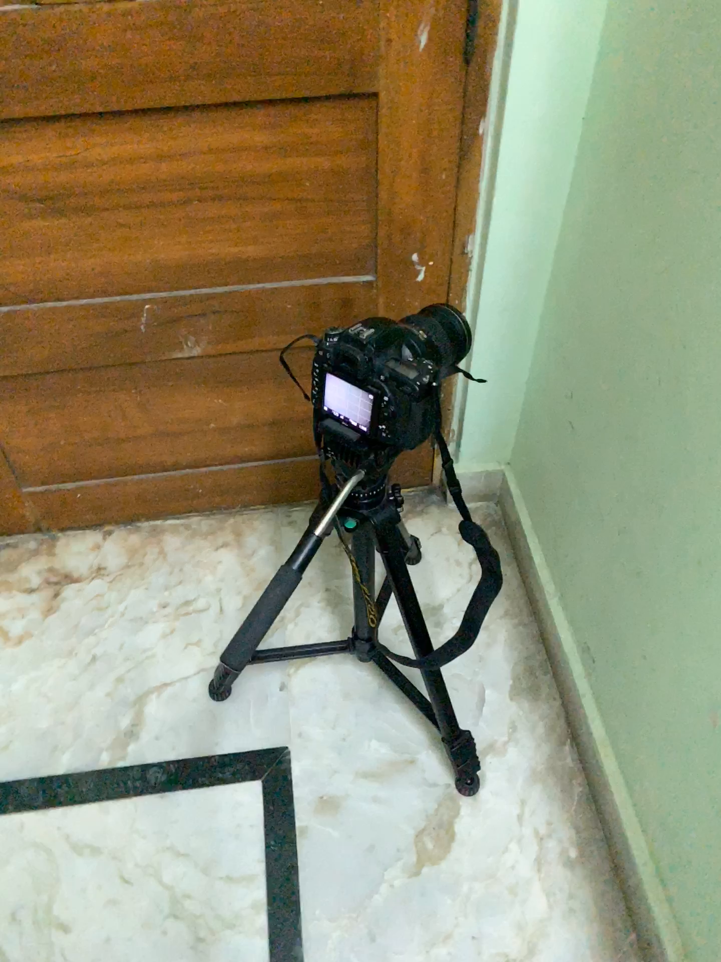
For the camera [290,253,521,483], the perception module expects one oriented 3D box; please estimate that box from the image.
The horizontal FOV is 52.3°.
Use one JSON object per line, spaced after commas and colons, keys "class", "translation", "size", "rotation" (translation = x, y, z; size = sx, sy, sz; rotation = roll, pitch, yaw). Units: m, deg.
{"class": "camera", "translation": [0.053, -0.136, 0.843], "size": [0.175, 0.128, 0.190], "rotation": [27, 54, 24]}
